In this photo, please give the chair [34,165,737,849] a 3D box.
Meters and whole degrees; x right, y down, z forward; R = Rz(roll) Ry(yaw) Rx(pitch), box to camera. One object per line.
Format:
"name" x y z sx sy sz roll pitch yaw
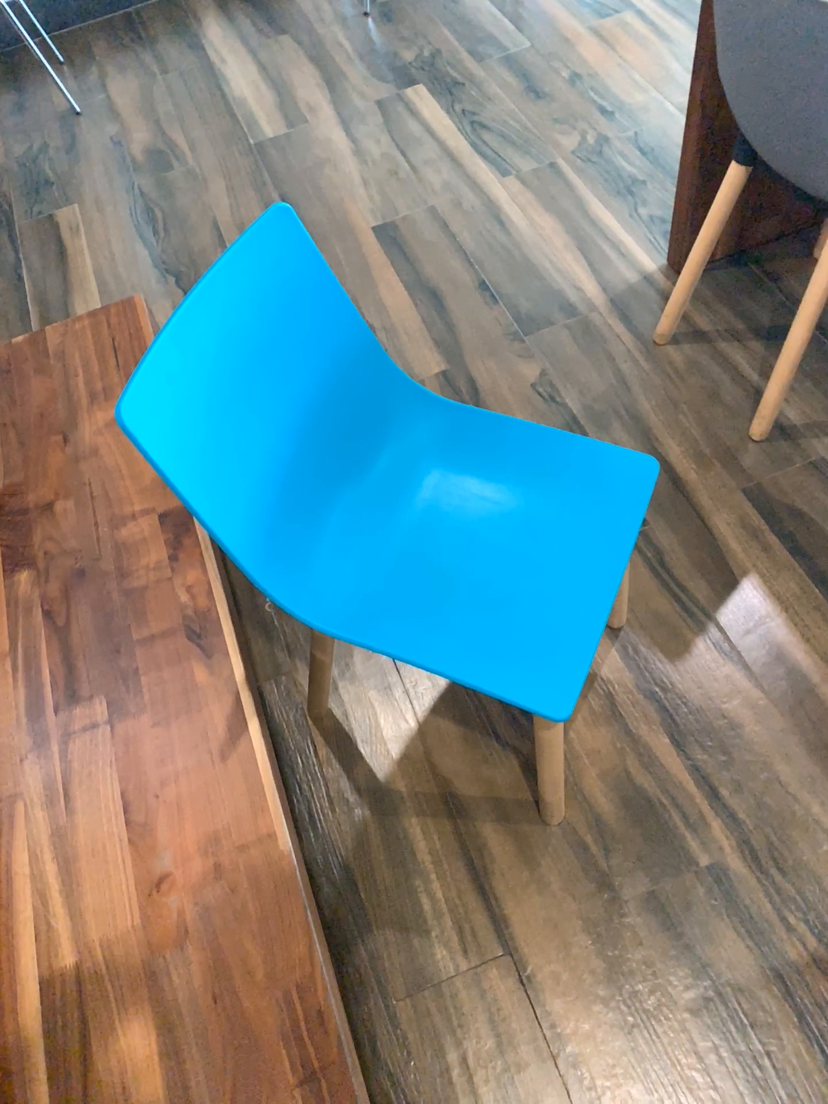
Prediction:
"chair" 0.025 -0.038 1.157 0.581 0.666 0.512 17 61 20
